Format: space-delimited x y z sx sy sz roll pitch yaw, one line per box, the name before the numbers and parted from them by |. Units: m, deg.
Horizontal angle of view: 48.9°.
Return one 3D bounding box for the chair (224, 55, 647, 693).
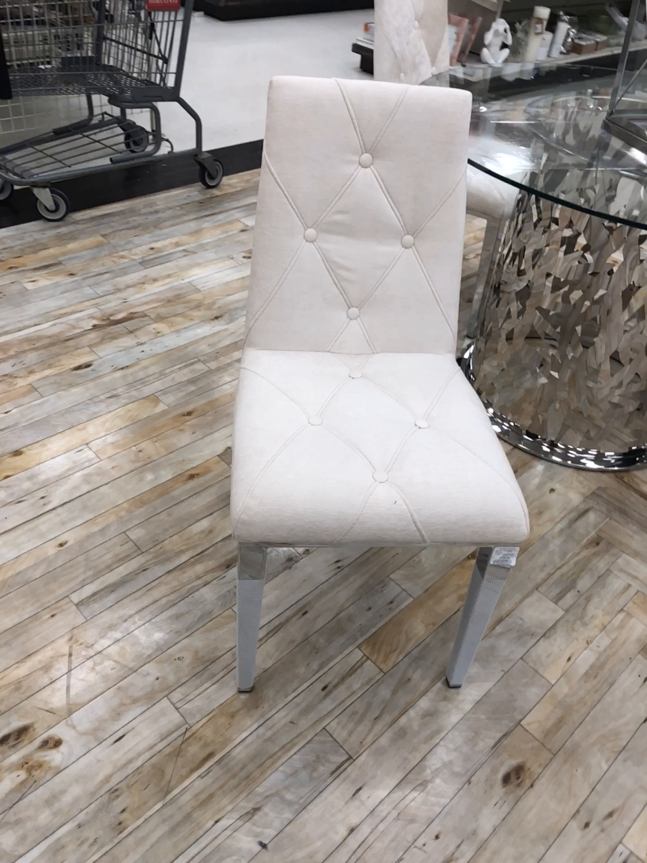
chair | 0.088 -0.059 1.204 0.470 0.886 0.572 2 40 -6
